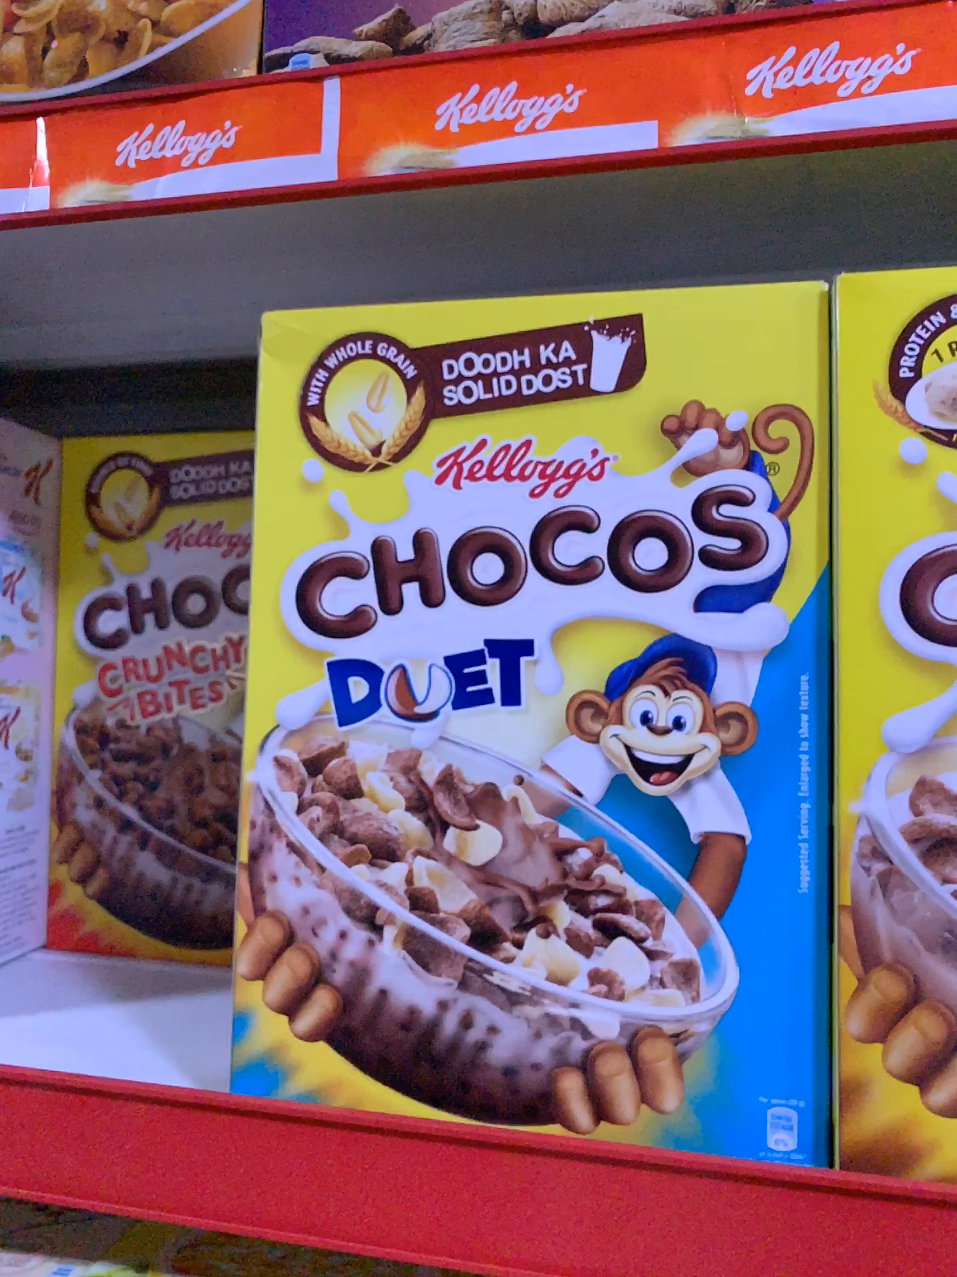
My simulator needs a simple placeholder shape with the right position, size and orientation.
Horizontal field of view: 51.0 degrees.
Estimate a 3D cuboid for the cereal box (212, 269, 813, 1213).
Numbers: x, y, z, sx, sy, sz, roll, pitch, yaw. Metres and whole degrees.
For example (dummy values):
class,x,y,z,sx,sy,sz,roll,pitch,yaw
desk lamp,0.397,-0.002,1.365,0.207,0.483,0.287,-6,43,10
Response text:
class,x,y,z,sx,sy,sz,roll,pitch,yaw
cereal box,0.013,0.024,0.315,0.170,0.250,0.060,0,-3,13
